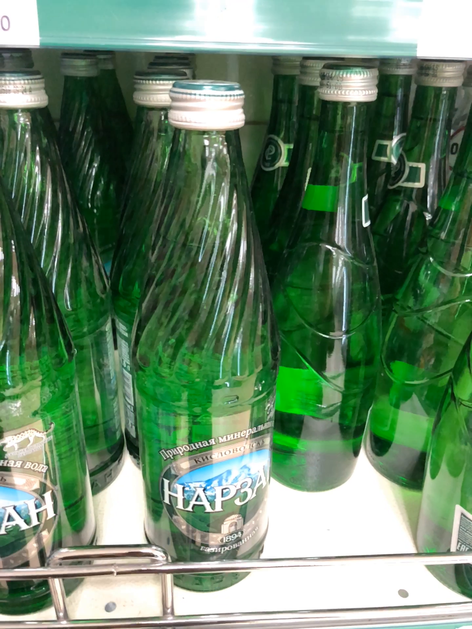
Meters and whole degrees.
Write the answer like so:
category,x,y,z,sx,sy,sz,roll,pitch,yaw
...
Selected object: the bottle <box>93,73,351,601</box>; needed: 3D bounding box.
category,x,y,z,sx,sy,sz,roll,pitch,yaw
bottle,-0.009,0.022,0.242,0.080,0.240,0.060,-2,27,-7
